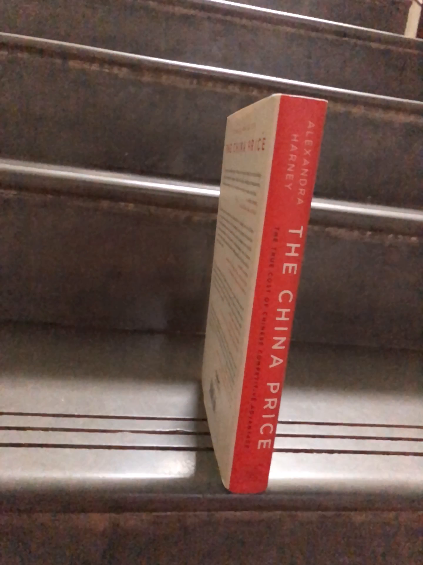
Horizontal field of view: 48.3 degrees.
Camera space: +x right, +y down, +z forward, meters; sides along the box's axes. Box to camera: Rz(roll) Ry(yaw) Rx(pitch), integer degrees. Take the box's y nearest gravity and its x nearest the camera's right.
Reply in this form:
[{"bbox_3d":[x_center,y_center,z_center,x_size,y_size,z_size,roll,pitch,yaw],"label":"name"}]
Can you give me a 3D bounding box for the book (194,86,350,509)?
[{"bbox_3d":[0.025,-0.001,0.345,0.040,0.239,0.181,4,15,-8],"label":"book"}]
